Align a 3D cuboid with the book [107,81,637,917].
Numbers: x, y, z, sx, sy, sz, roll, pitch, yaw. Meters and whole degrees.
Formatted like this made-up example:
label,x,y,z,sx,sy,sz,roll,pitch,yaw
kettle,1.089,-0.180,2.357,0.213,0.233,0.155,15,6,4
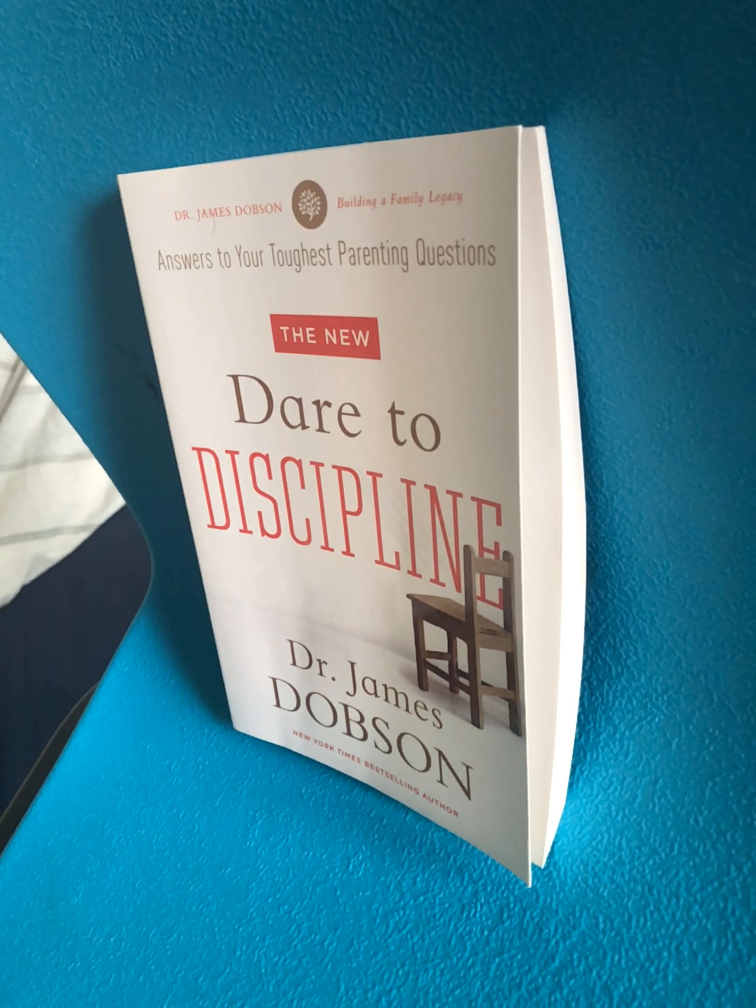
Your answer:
label,x,y,z,sx,sy,sz,roll,pitch,yaw
book,-0.008,-0.004,0.251,0.151,0.199,0.040,13,23,39
